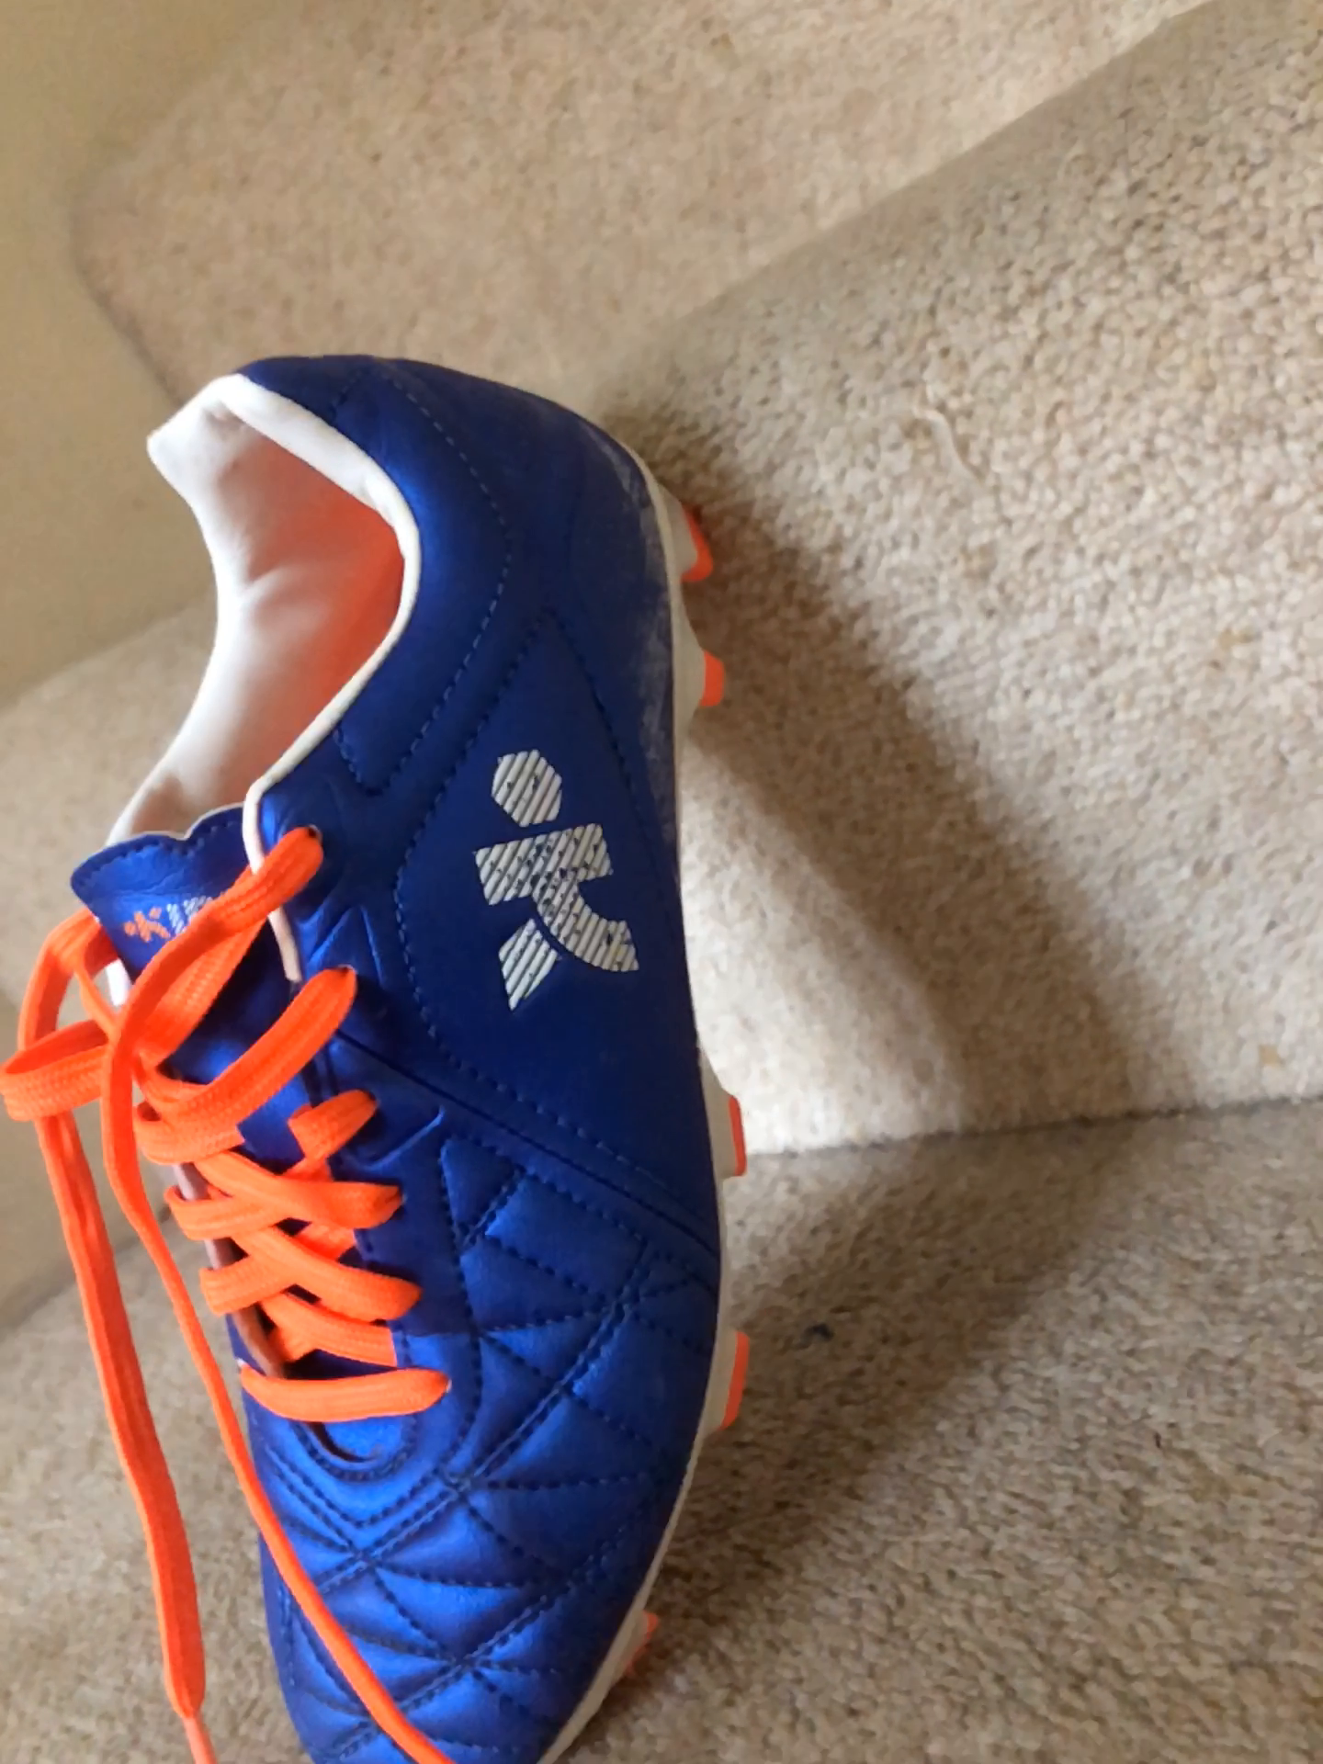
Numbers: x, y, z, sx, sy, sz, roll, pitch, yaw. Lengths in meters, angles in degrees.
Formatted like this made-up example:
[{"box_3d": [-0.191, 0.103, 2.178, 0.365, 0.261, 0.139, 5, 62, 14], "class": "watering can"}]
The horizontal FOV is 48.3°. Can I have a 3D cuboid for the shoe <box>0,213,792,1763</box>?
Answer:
[{"box_3d": [-0.038, 0.022, 0.241, 0.070, 0.211, 0.100, -10, -16, 42], "class": "shoe"}]
